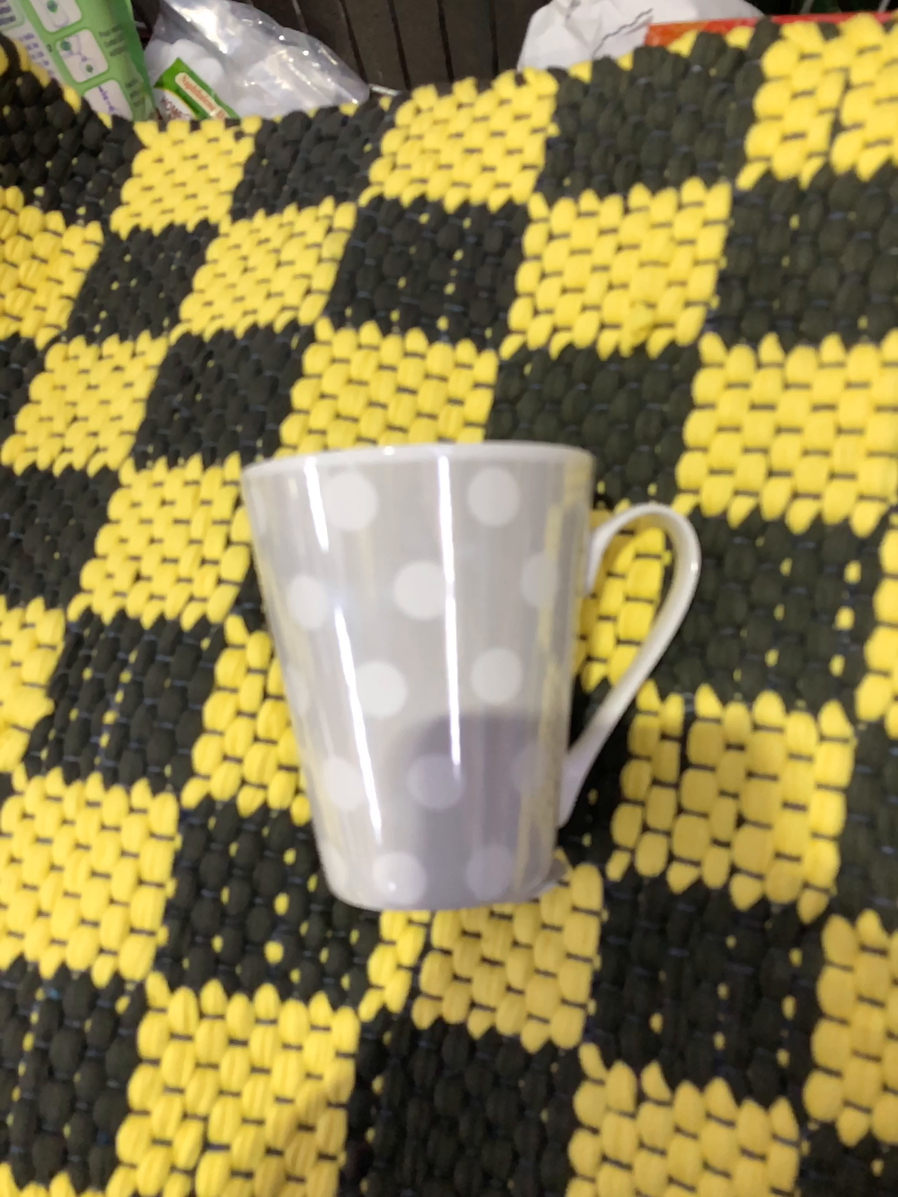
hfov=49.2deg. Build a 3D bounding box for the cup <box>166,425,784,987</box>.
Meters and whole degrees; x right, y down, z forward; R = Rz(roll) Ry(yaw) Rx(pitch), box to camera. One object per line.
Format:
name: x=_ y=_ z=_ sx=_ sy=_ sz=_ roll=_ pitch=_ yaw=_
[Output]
cup: x=0.003 y=0.017 z=0.243 sx=0.120 sy=0.090 sz=0.100 roll=-3 pitch=90 yaw=-29
